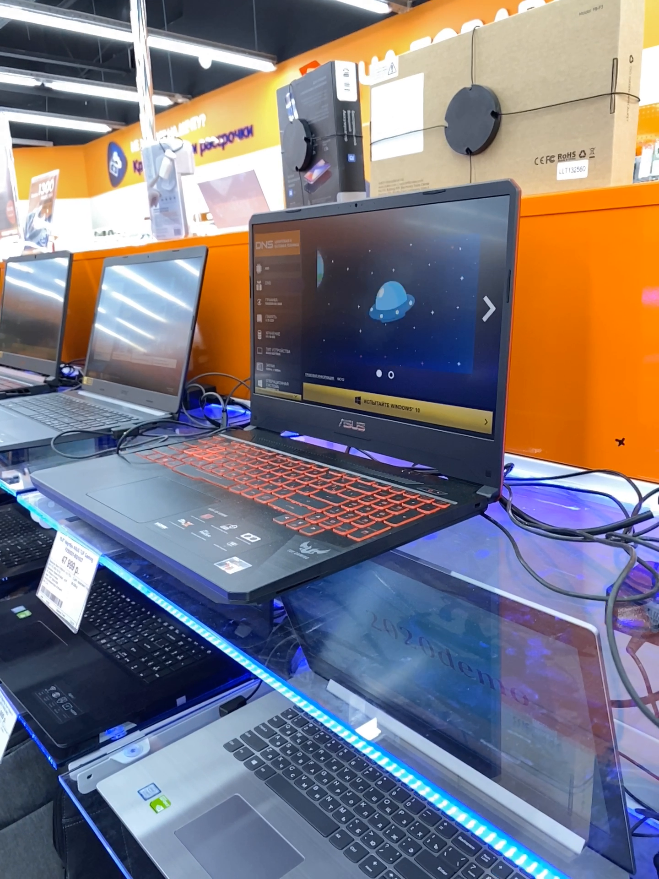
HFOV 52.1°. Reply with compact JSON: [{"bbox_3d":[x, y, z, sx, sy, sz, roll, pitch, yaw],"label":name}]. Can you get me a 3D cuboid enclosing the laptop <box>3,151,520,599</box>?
[{"bbox_3d":[-0.070,-0.083,0.598,0.286,0.248,0.360,-13,17,-40],"label":"laptop"}]
